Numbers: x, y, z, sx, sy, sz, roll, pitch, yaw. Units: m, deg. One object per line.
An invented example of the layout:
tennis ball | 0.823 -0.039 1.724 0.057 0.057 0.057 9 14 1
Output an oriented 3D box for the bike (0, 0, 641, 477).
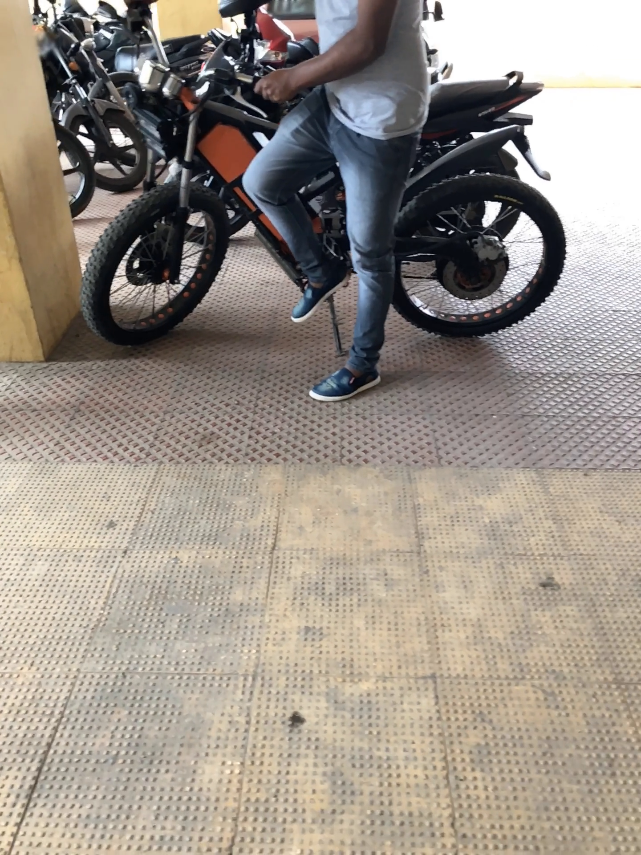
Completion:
bike | 0.010 -0.666 2.371 1.747 1.184 0.759 -6 32 -2
